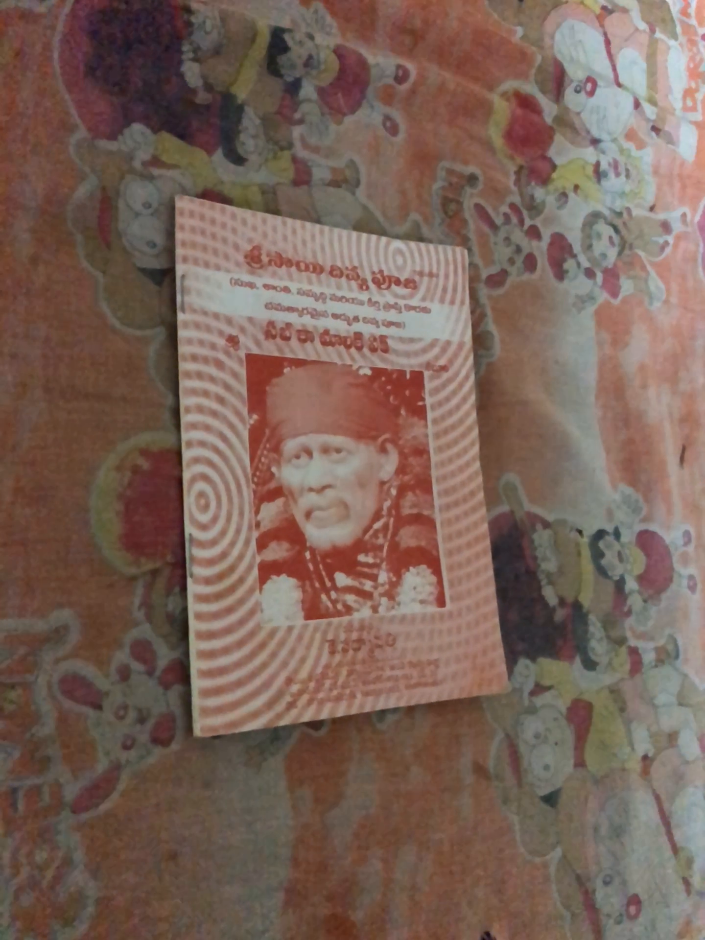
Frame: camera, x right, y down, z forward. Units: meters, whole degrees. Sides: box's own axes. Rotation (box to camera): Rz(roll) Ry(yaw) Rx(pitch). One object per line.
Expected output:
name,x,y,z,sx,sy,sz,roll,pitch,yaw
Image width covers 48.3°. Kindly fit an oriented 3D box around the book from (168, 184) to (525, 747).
book,0.000,-0.004,0.270,0.120,0.010,0.173,2,78,-30
